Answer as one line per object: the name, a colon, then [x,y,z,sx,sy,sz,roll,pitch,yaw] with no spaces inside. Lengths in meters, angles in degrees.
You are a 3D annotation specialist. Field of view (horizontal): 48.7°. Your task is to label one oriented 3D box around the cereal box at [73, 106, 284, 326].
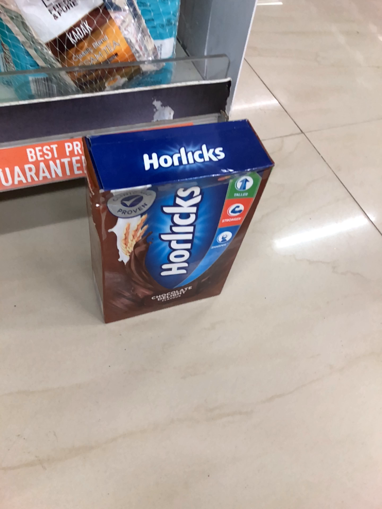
cereal box: [-0.023,-0.023,0.387,0.140,0.209,0.060,-12,59,-18]
